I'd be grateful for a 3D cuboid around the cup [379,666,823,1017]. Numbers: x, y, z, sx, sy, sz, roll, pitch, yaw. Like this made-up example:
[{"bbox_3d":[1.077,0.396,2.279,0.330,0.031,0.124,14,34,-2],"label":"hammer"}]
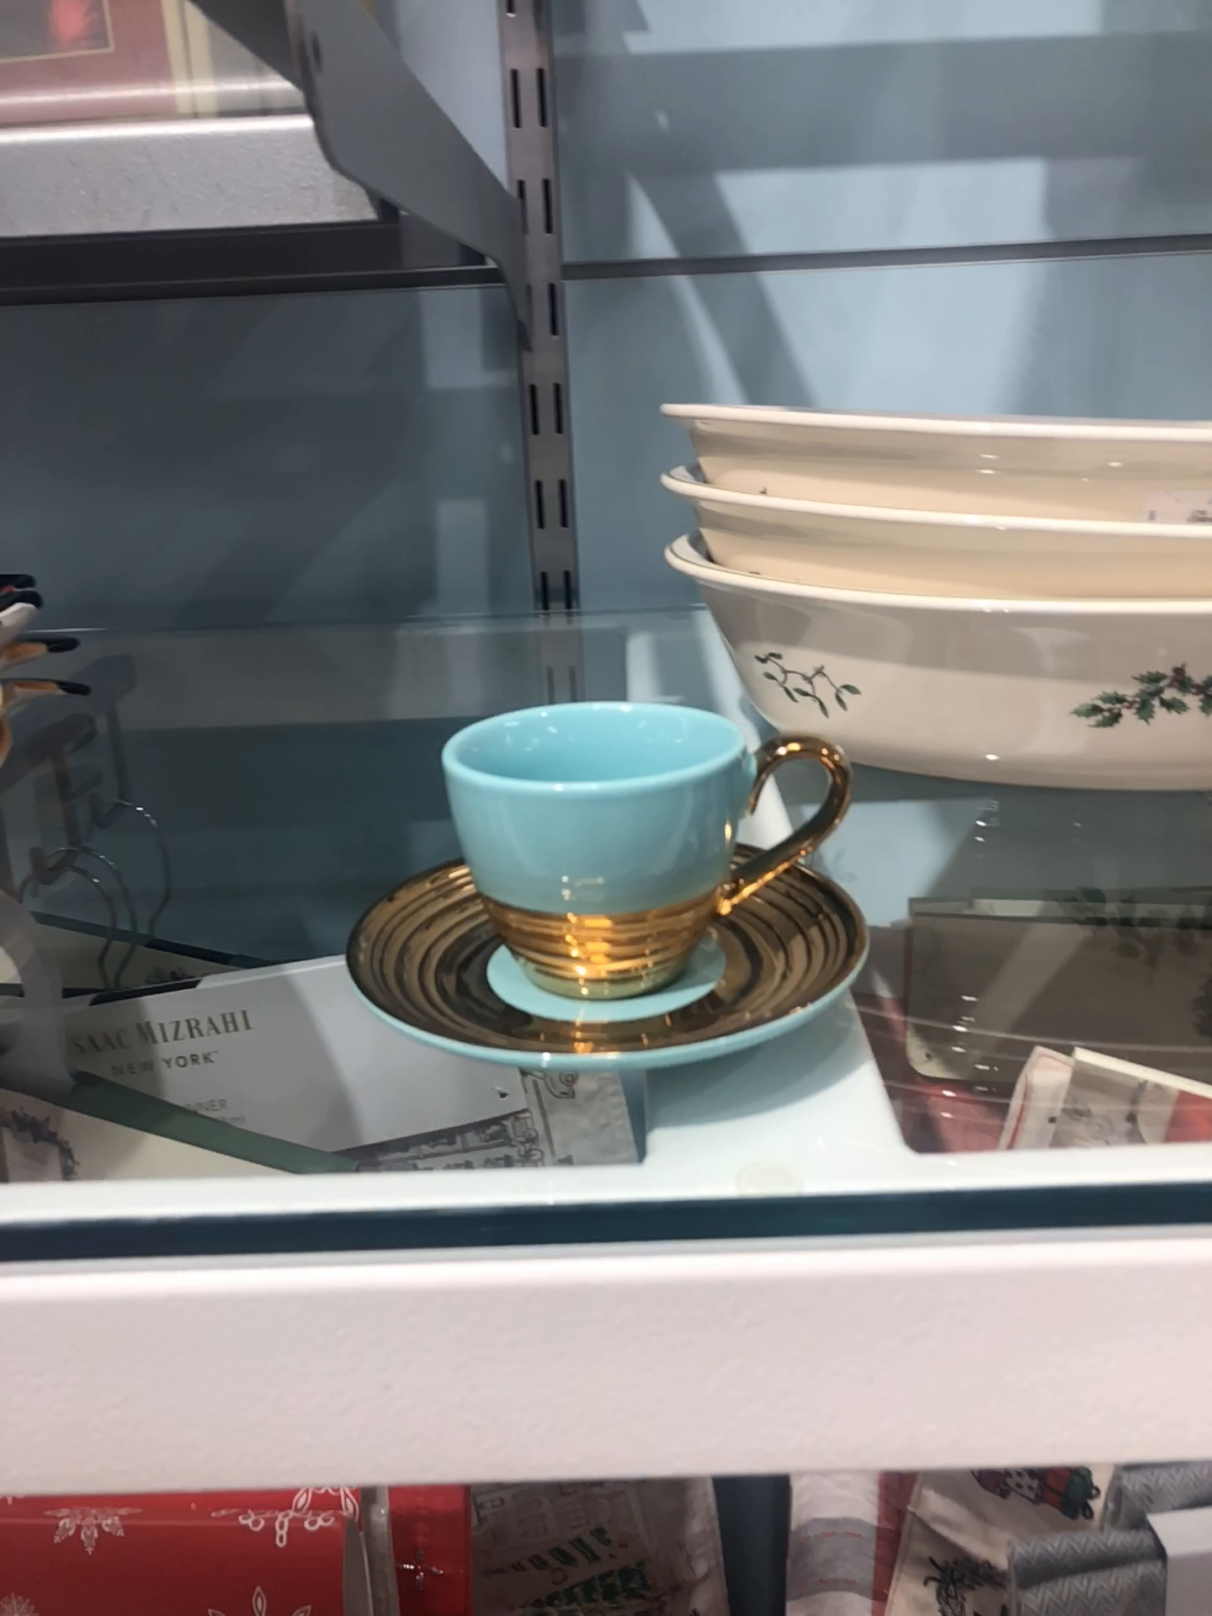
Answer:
[{"bbox_3d":[-0.002,0.004,0.293,0.084,0.050,0.070,-3,20,-3],"label":"cup"}]
